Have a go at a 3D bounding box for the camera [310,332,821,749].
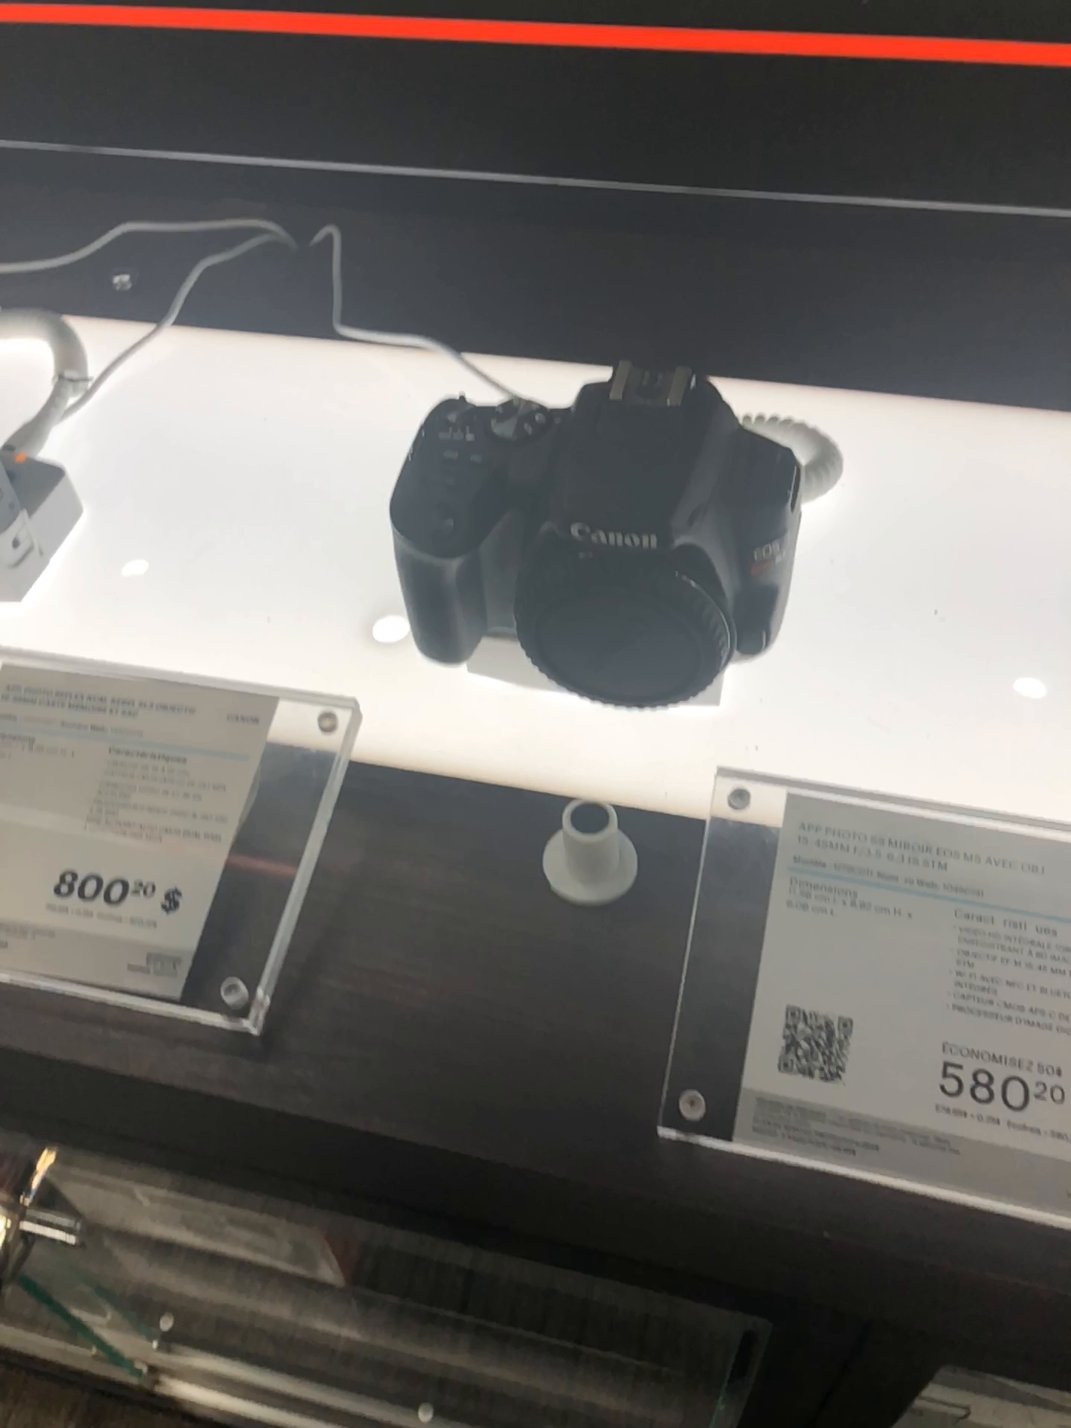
[{"bbox_3d":[0.013,-0.053,0.346,0.123,0.071,0.081,9,49,11],"label":"camera"}]
